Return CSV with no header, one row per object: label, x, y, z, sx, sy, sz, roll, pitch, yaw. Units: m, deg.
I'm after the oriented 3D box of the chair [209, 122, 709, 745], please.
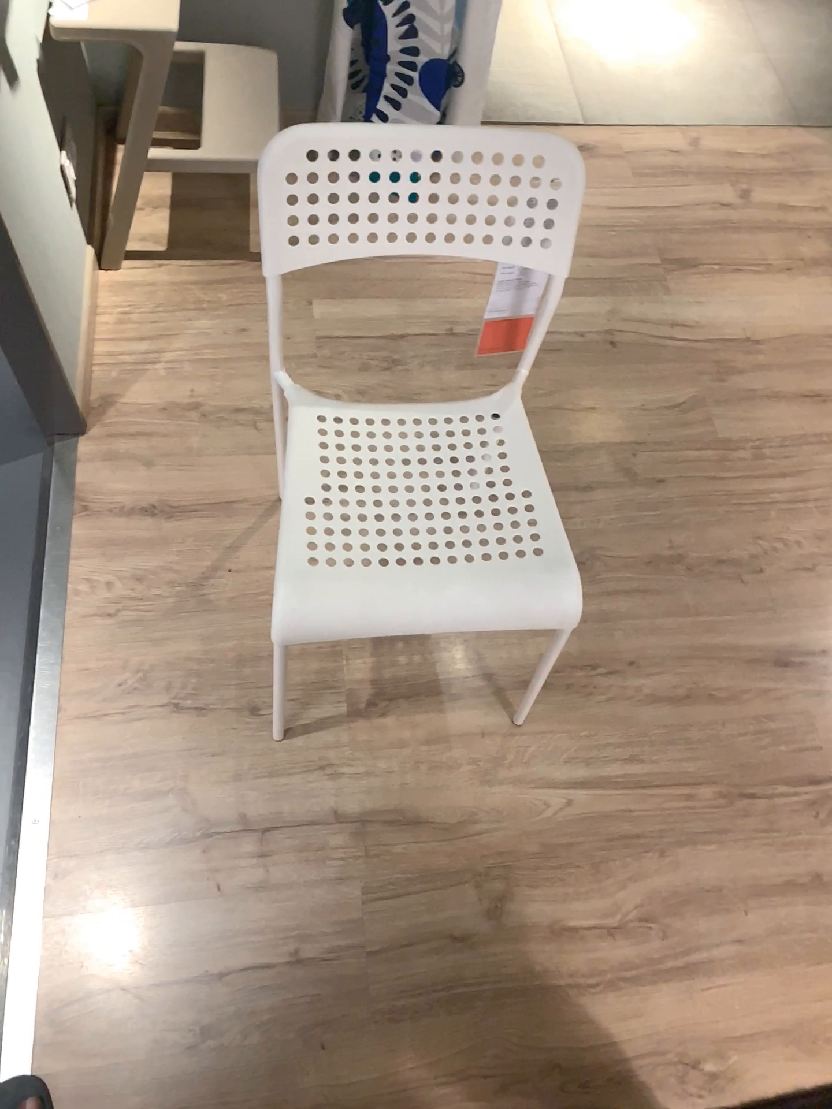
chair,-0.014,-0.110,1.104,0.430,0.609,0.531,-3,63,-8
